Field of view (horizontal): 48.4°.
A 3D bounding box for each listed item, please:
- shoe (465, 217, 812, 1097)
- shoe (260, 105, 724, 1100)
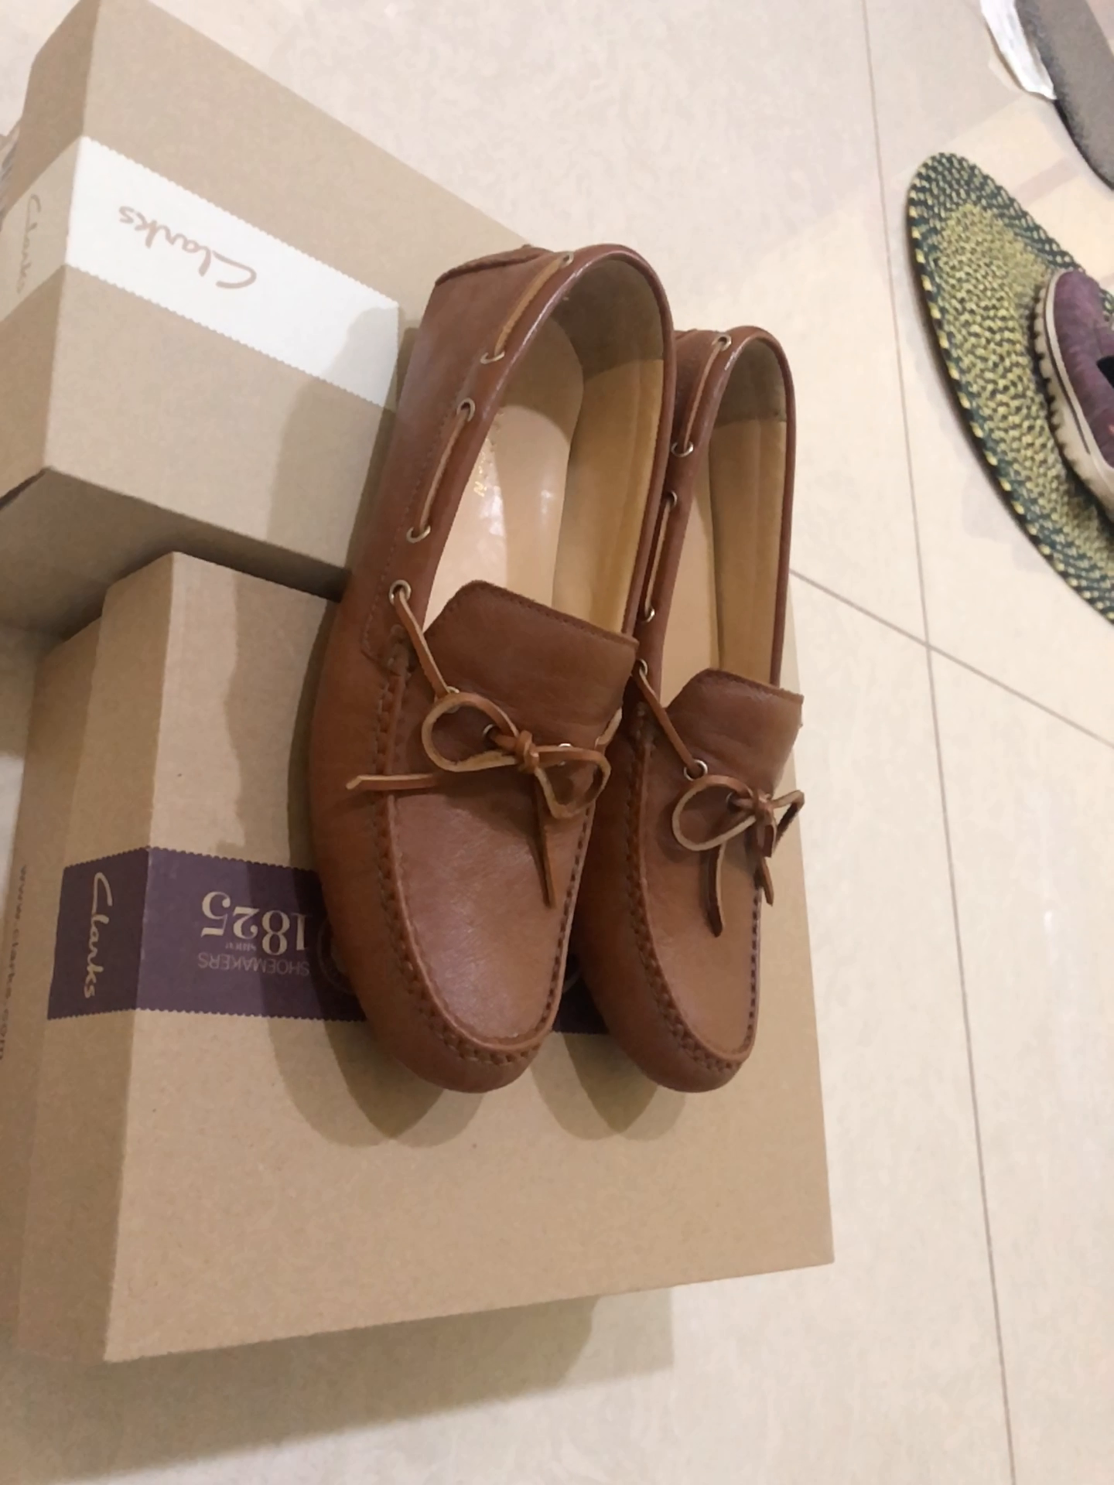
[{"bbox_3d":[0.031,-0.024,0.434,0.080,0.080,0.280,14,73,-43],"label":"shoe"},{"bbox_3d":[-0.013,-0.040,0.384,0.080,0.080,0.280,20,69,-41],"label":"shoe"}]
